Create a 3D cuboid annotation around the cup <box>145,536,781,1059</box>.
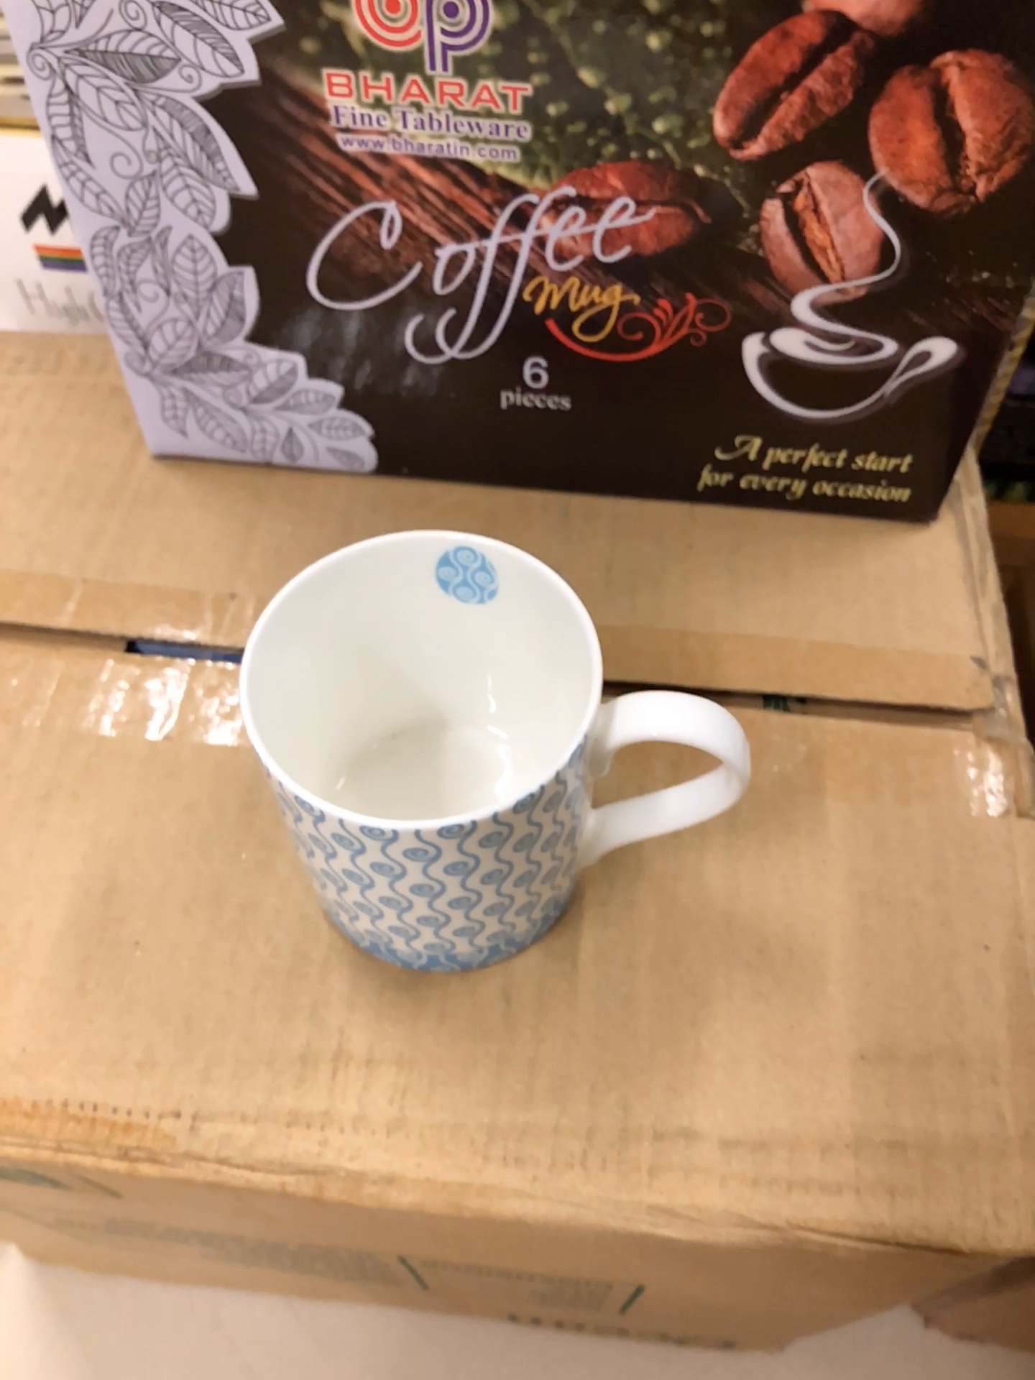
[{"bbox_3d":[-0.006,0.027,0.256,0.110,0.090,0.070,6,58,4],"label":"cup"}]
